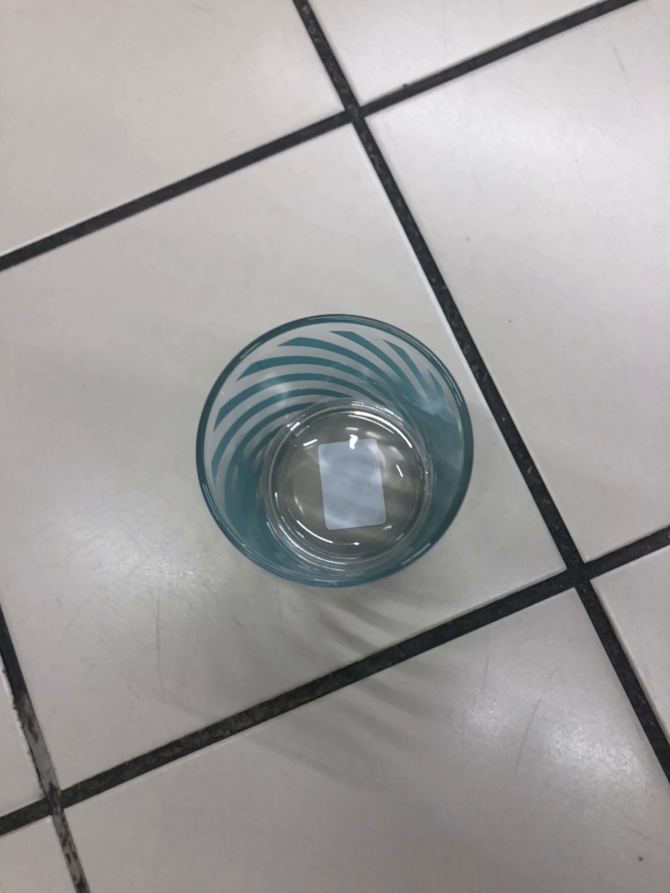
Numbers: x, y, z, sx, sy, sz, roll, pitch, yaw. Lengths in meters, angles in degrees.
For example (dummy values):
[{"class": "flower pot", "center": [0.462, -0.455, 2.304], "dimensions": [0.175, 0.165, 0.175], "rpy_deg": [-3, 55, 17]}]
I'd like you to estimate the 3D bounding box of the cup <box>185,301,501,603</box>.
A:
[{"class": "cup", "center": [0.003, 0.007, 0.241], "dimensions": [0.079, 0.081, 0.075], "rpy_deg": [-1, 80, 4]}]
